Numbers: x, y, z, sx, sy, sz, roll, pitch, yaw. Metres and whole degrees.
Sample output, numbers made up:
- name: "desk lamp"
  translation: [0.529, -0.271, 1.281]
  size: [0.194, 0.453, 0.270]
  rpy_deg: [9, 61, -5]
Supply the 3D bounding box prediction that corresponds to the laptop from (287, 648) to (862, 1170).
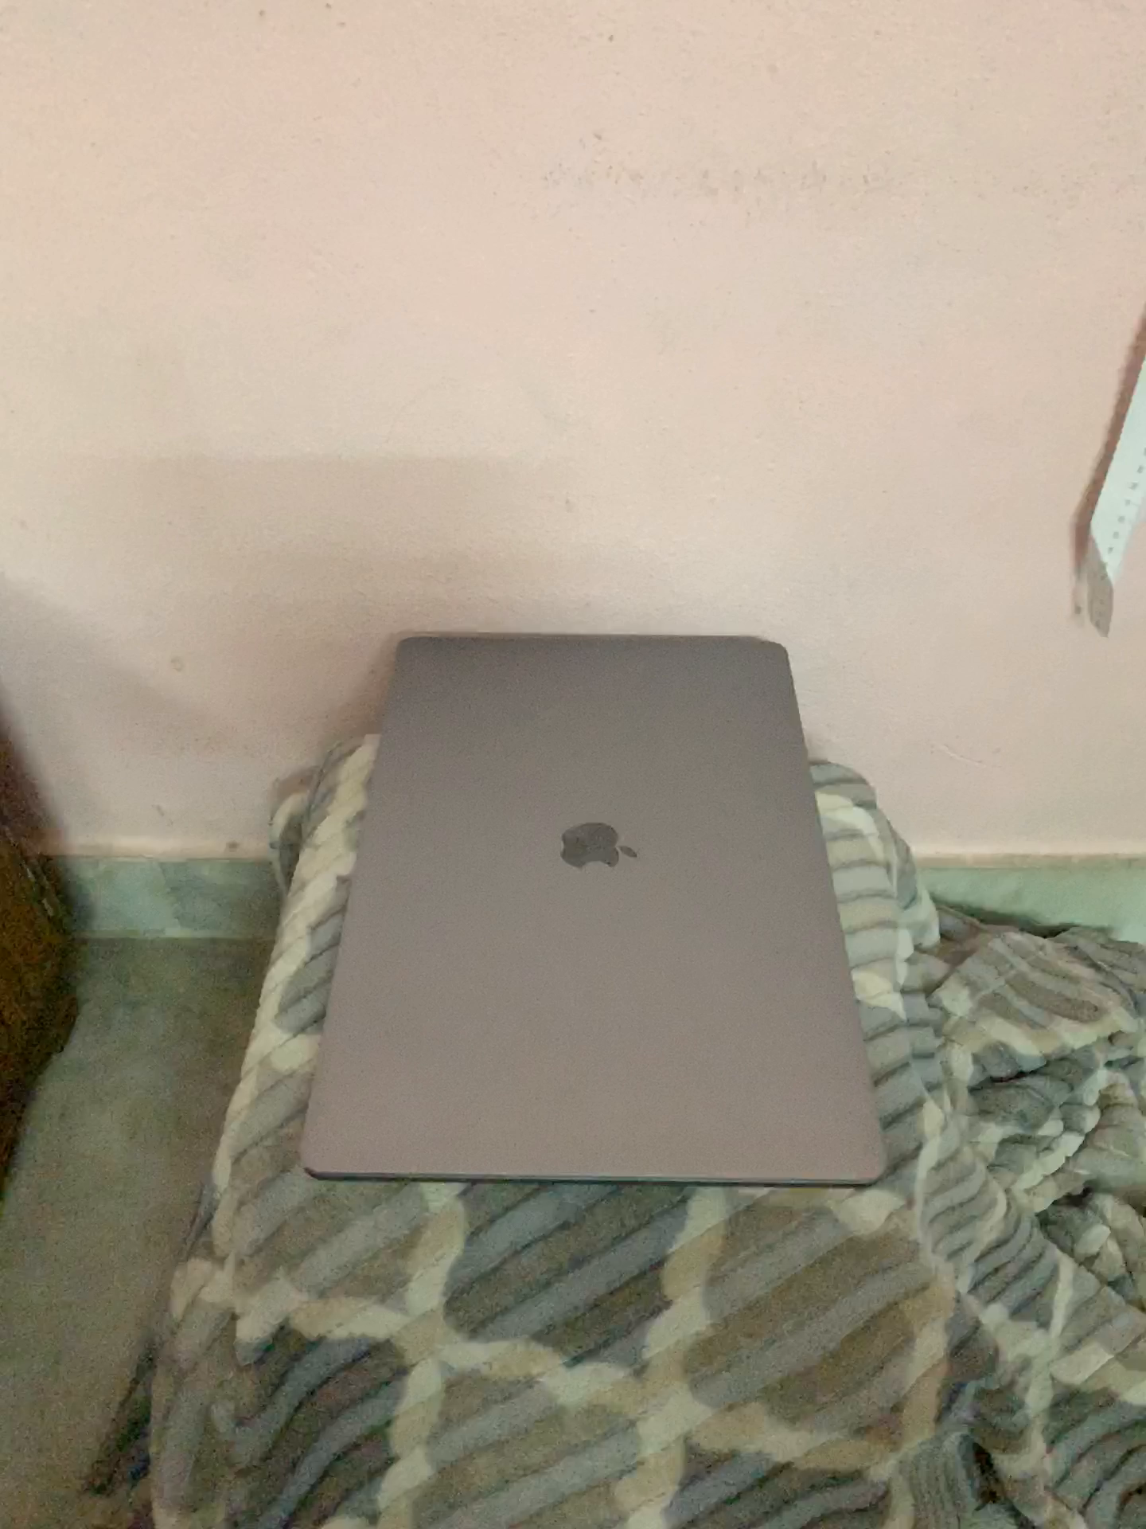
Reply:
- name: "laptop"
  translation: [-0.001, 0.045, 0.580]
  size: [0.228, 0.002, 0.327]
  rpy_deg: [0, 44, 1]
